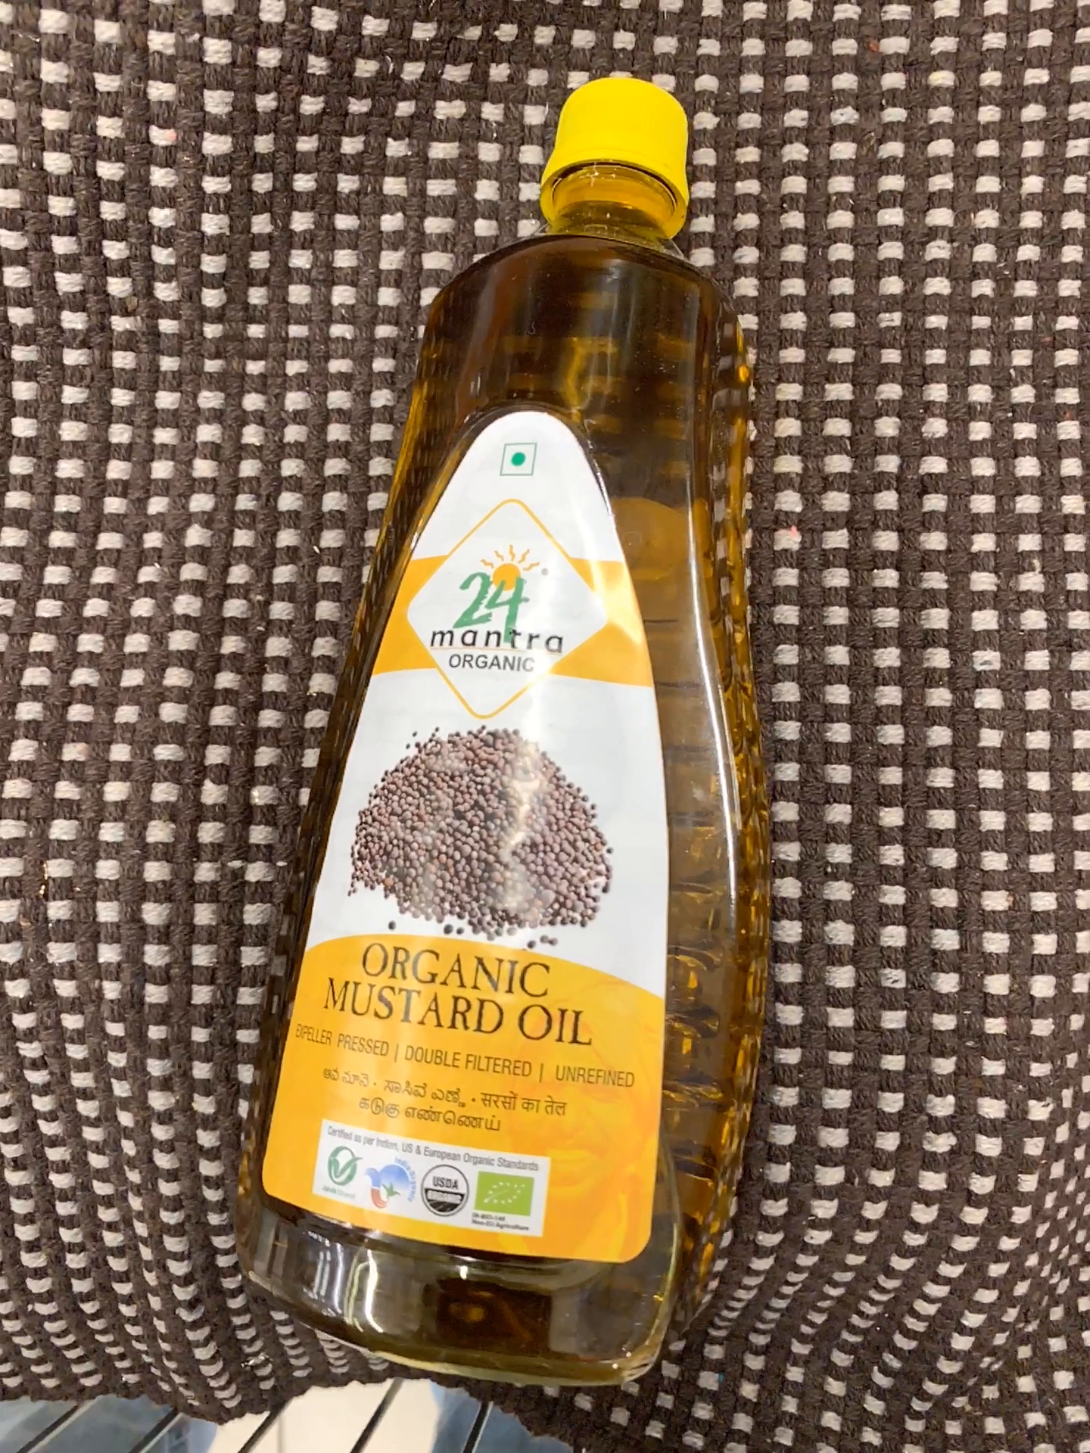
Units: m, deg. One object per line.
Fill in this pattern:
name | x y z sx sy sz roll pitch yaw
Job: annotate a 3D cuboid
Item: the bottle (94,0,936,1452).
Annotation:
bottle | -0.003 -0.004 0.220 0.110 0.060 0.250 9 90 15
